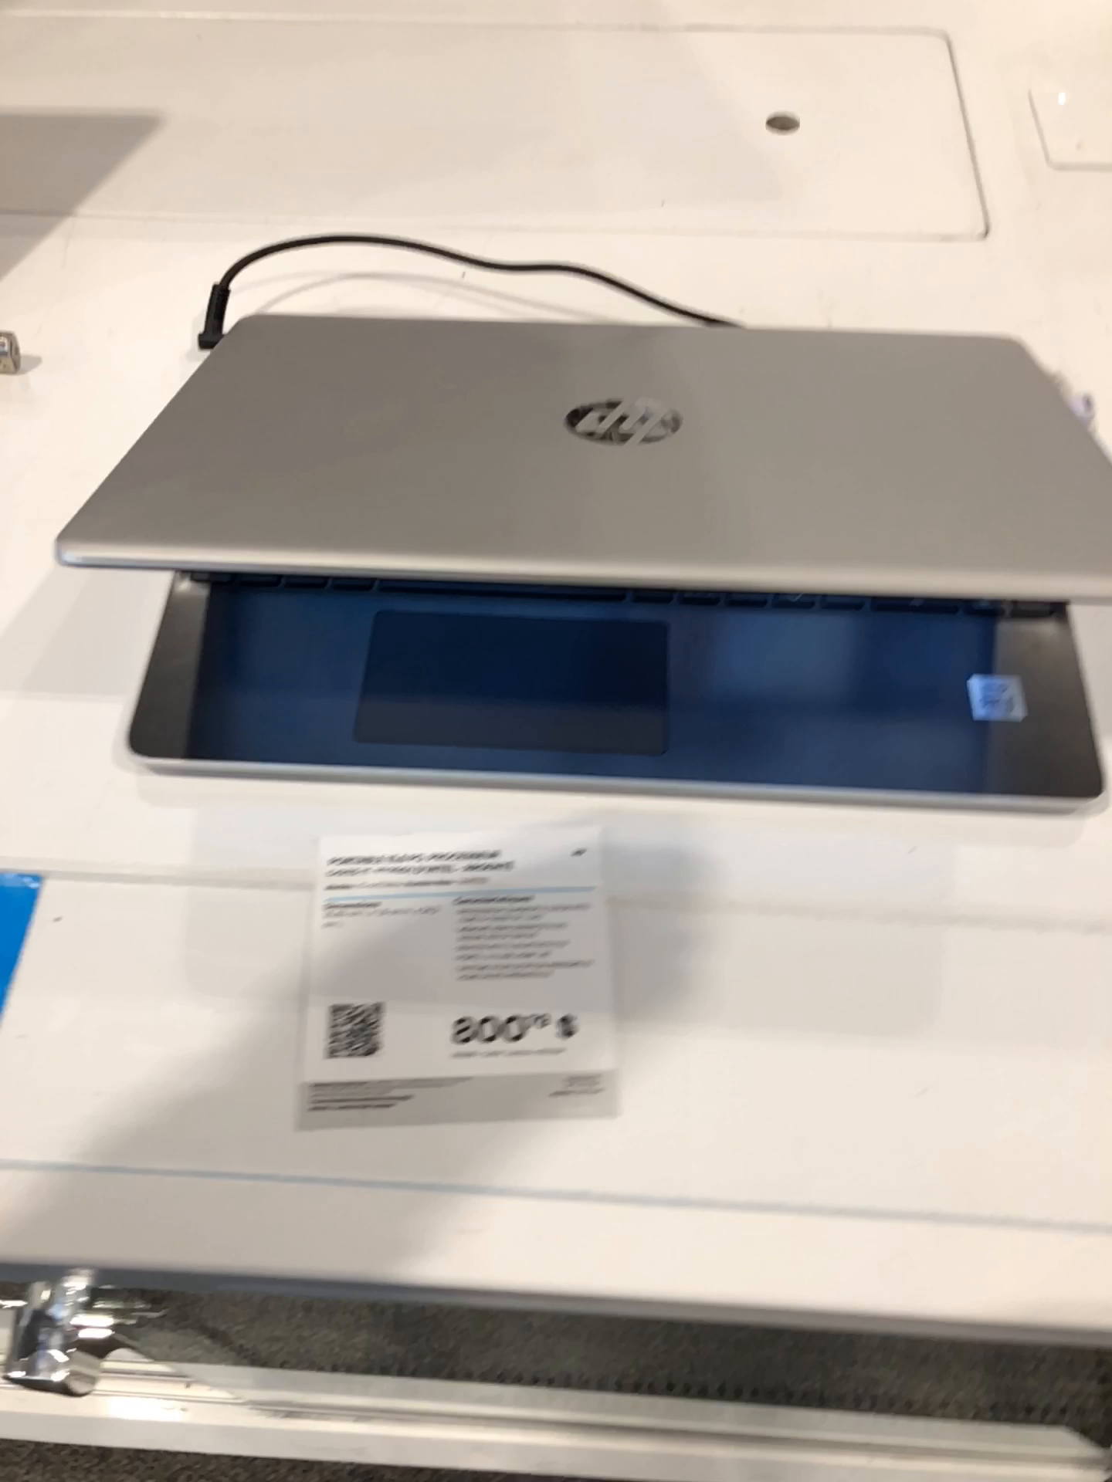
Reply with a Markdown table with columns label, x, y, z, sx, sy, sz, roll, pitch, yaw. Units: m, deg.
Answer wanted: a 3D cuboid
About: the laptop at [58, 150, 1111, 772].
| label | x | y | z | sx | sy | sz | roll | pitch | yaw |
| --- | --- | --- | --- | --- | --- | --- | --- | --- | --- |
| laptop | 0.025 | -0.116 | 0.461 | 0.341 | 0.086 | 0.229 | 3 | 57 | 4 |
